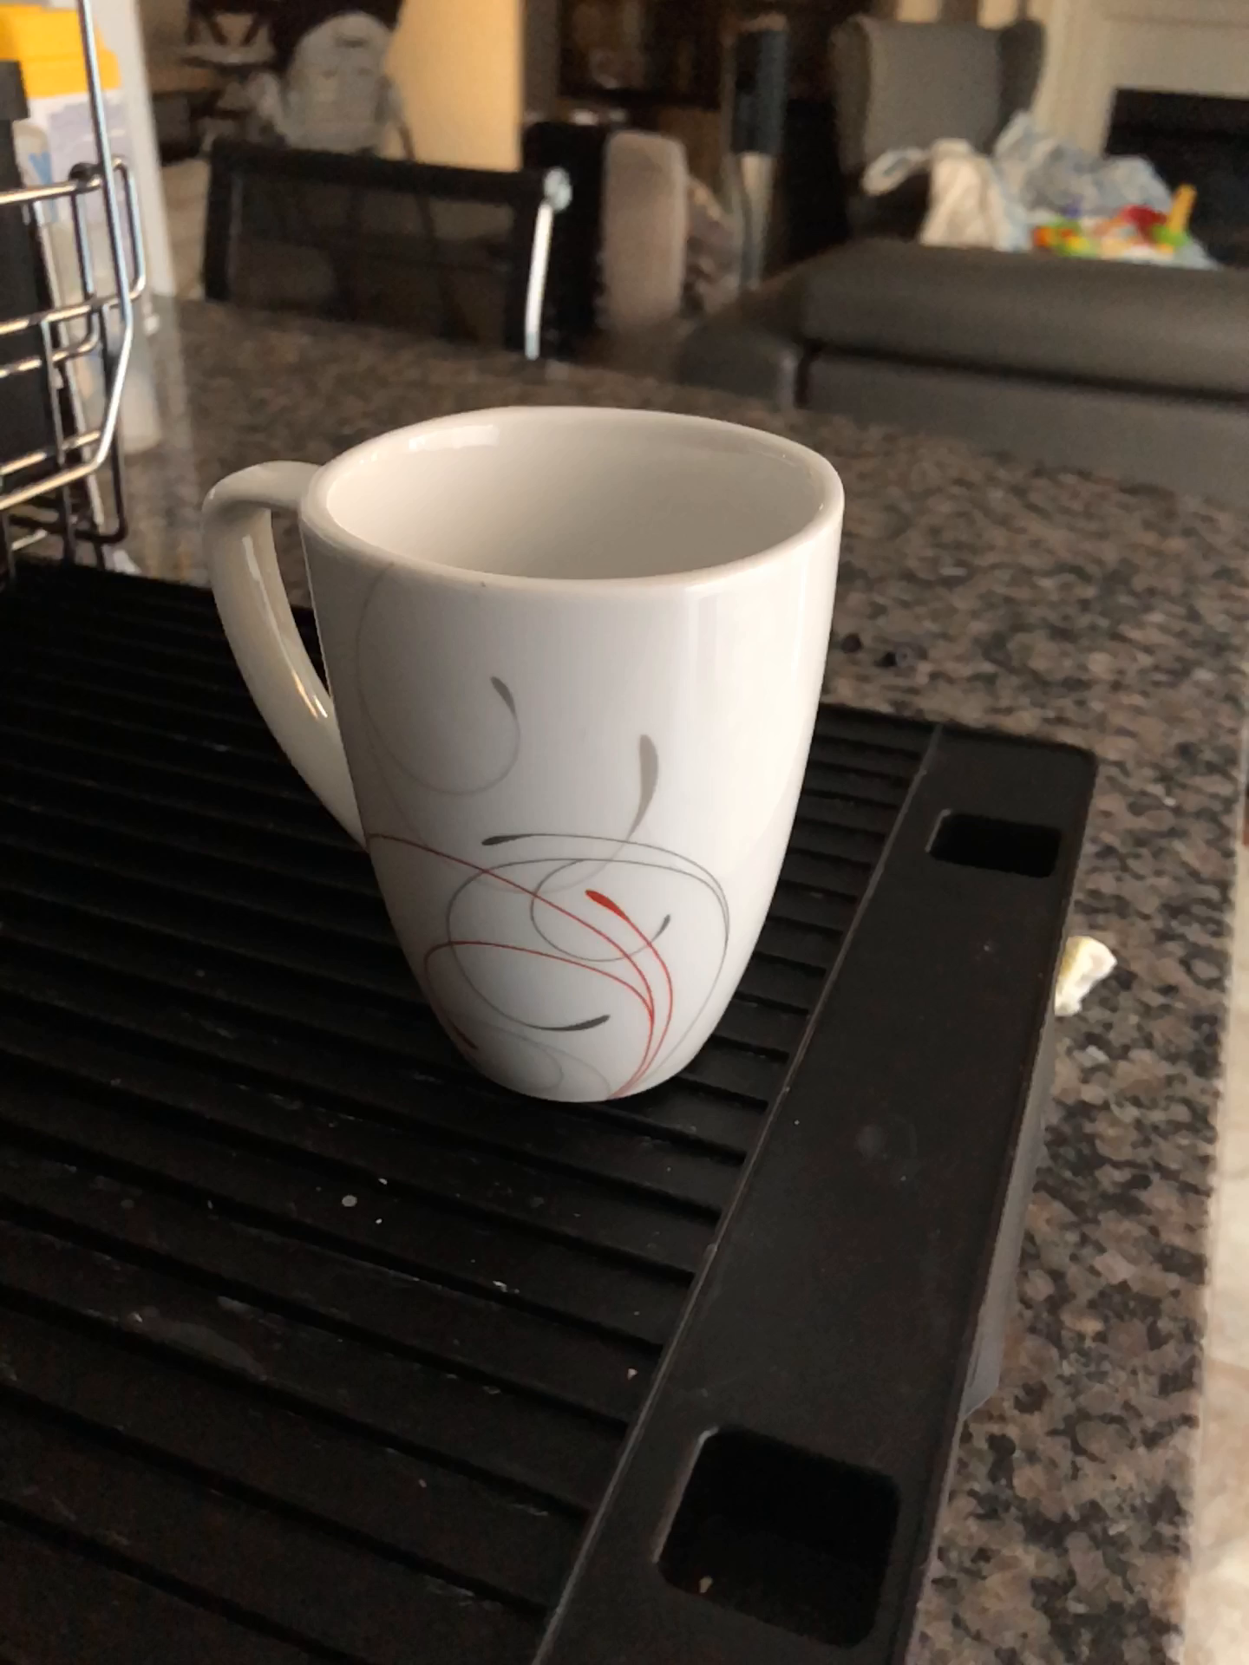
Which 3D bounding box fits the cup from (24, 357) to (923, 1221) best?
[{"bbox_3d":[-0.020,-0.015,0.251,0.116,0.105,0.088,13,34,17],"label":"cup"}]
